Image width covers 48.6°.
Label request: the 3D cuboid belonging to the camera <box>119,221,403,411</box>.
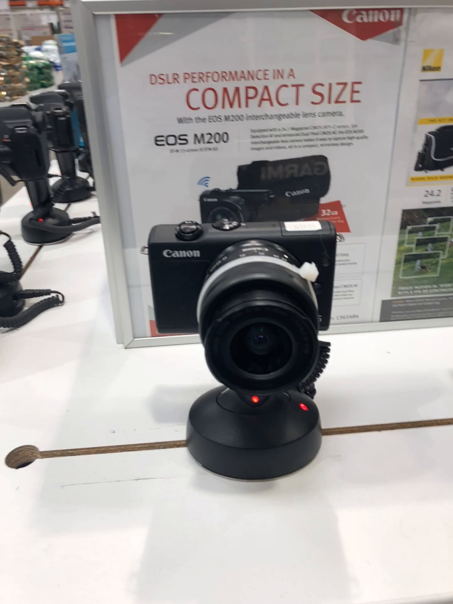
[{"bbox_3d":[0.014,-0.001,0.276,0.120,0.050,0.120,-2,26,-1],"label":"camera"}]
